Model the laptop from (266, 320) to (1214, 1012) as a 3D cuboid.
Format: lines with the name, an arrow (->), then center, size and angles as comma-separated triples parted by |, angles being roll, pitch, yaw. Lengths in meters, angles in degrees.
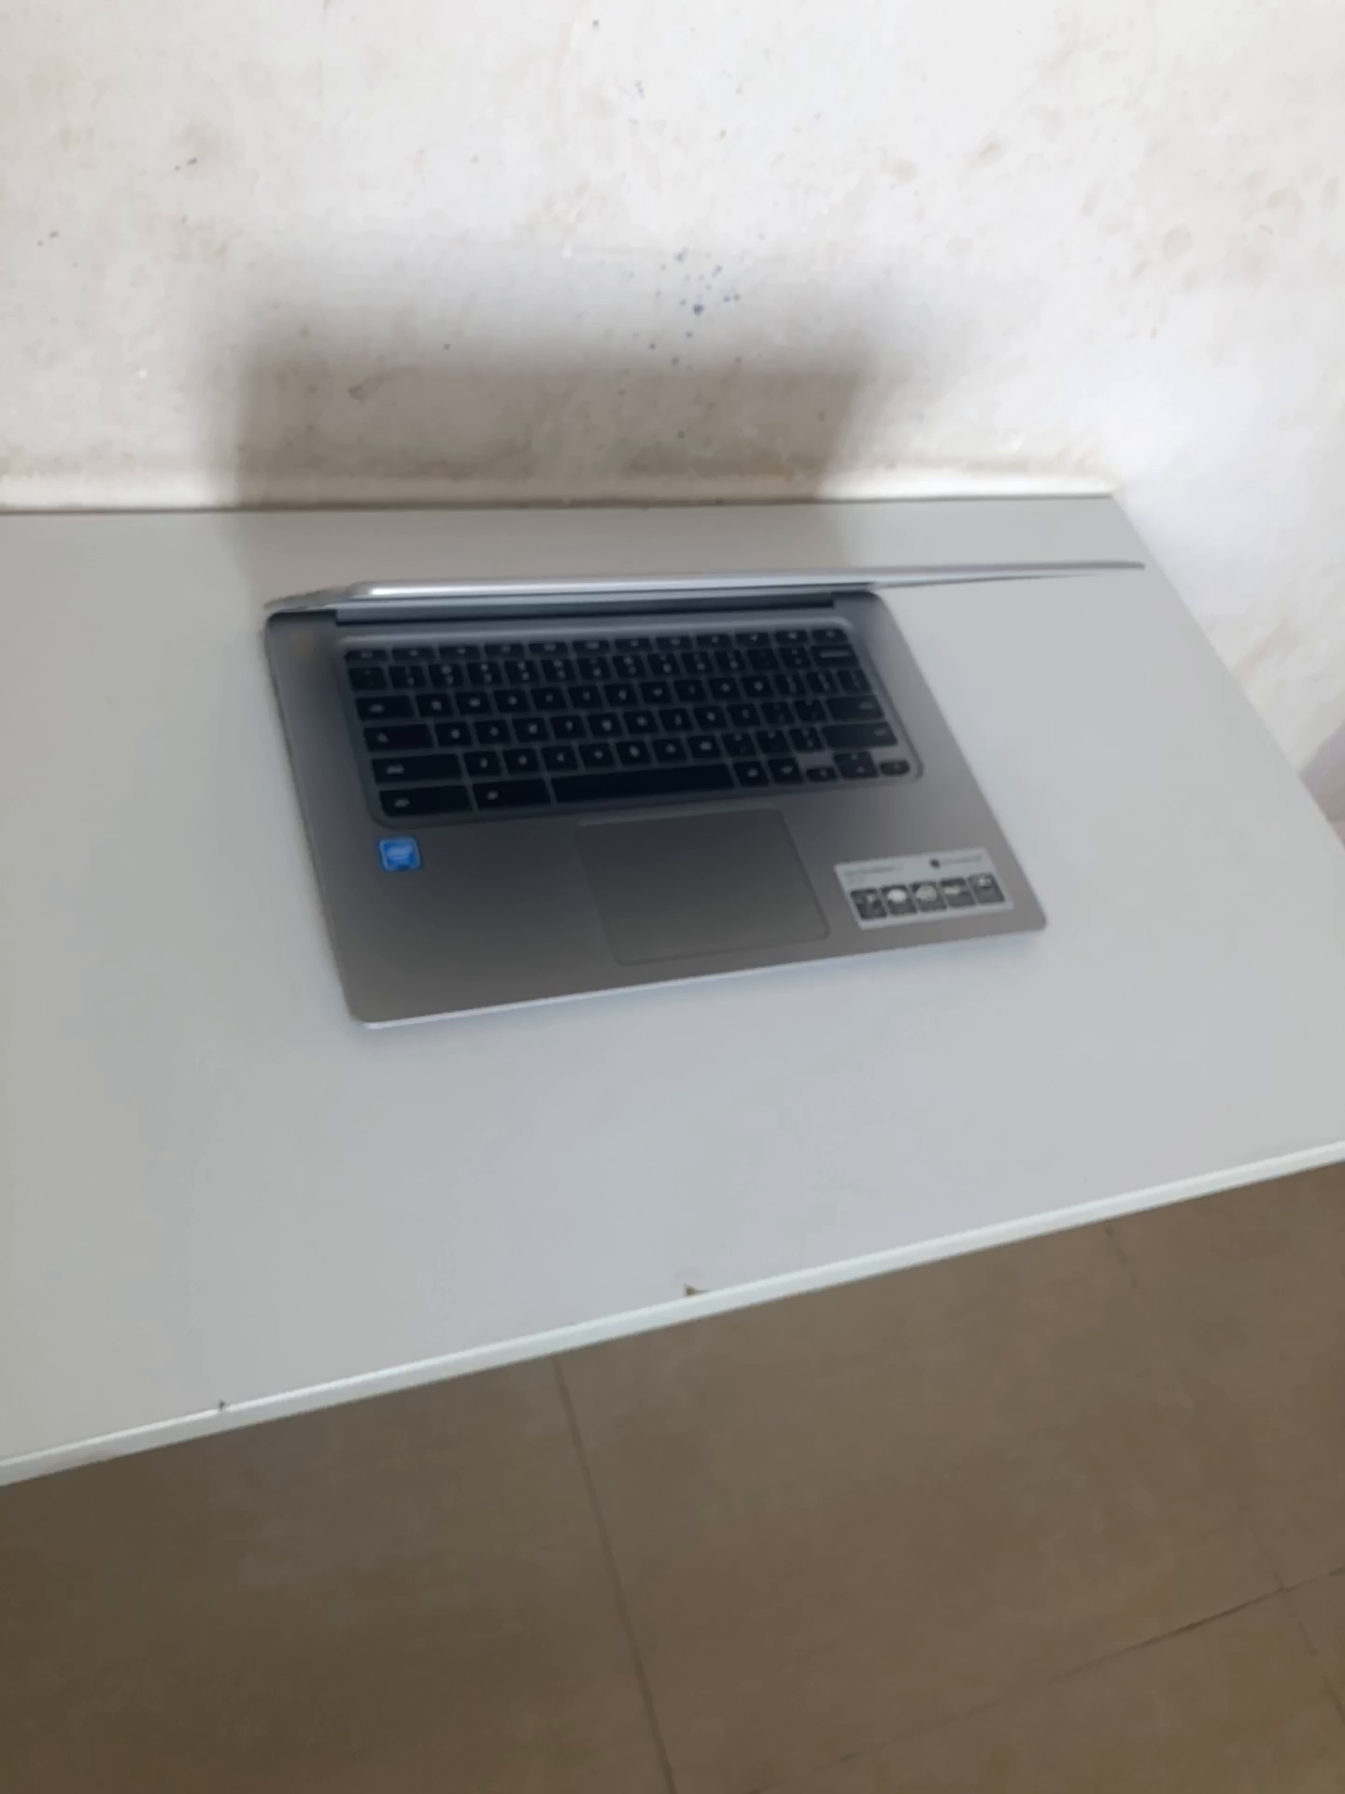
laptop -> 0.011, -0.107, 0.645 | 0.326, 0.155, 0.222 | -7, 57, -22
